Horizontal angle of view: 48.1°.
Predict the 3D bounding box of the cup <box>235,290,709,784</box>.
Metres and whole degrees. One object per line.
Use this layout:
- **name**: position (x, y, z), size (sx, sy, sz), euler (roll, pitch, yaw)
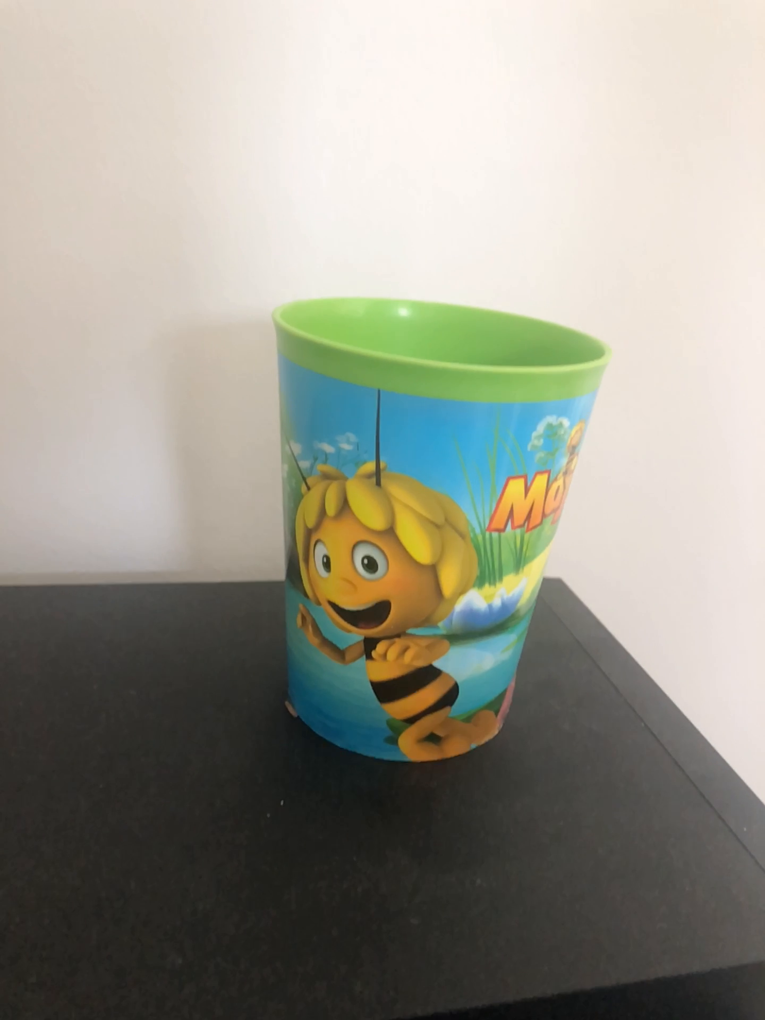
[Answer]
- **cup**: position (0.012, 0.000, 0.212), size (0.080, 0.090, 0.080), euler (6, 21, -2)
